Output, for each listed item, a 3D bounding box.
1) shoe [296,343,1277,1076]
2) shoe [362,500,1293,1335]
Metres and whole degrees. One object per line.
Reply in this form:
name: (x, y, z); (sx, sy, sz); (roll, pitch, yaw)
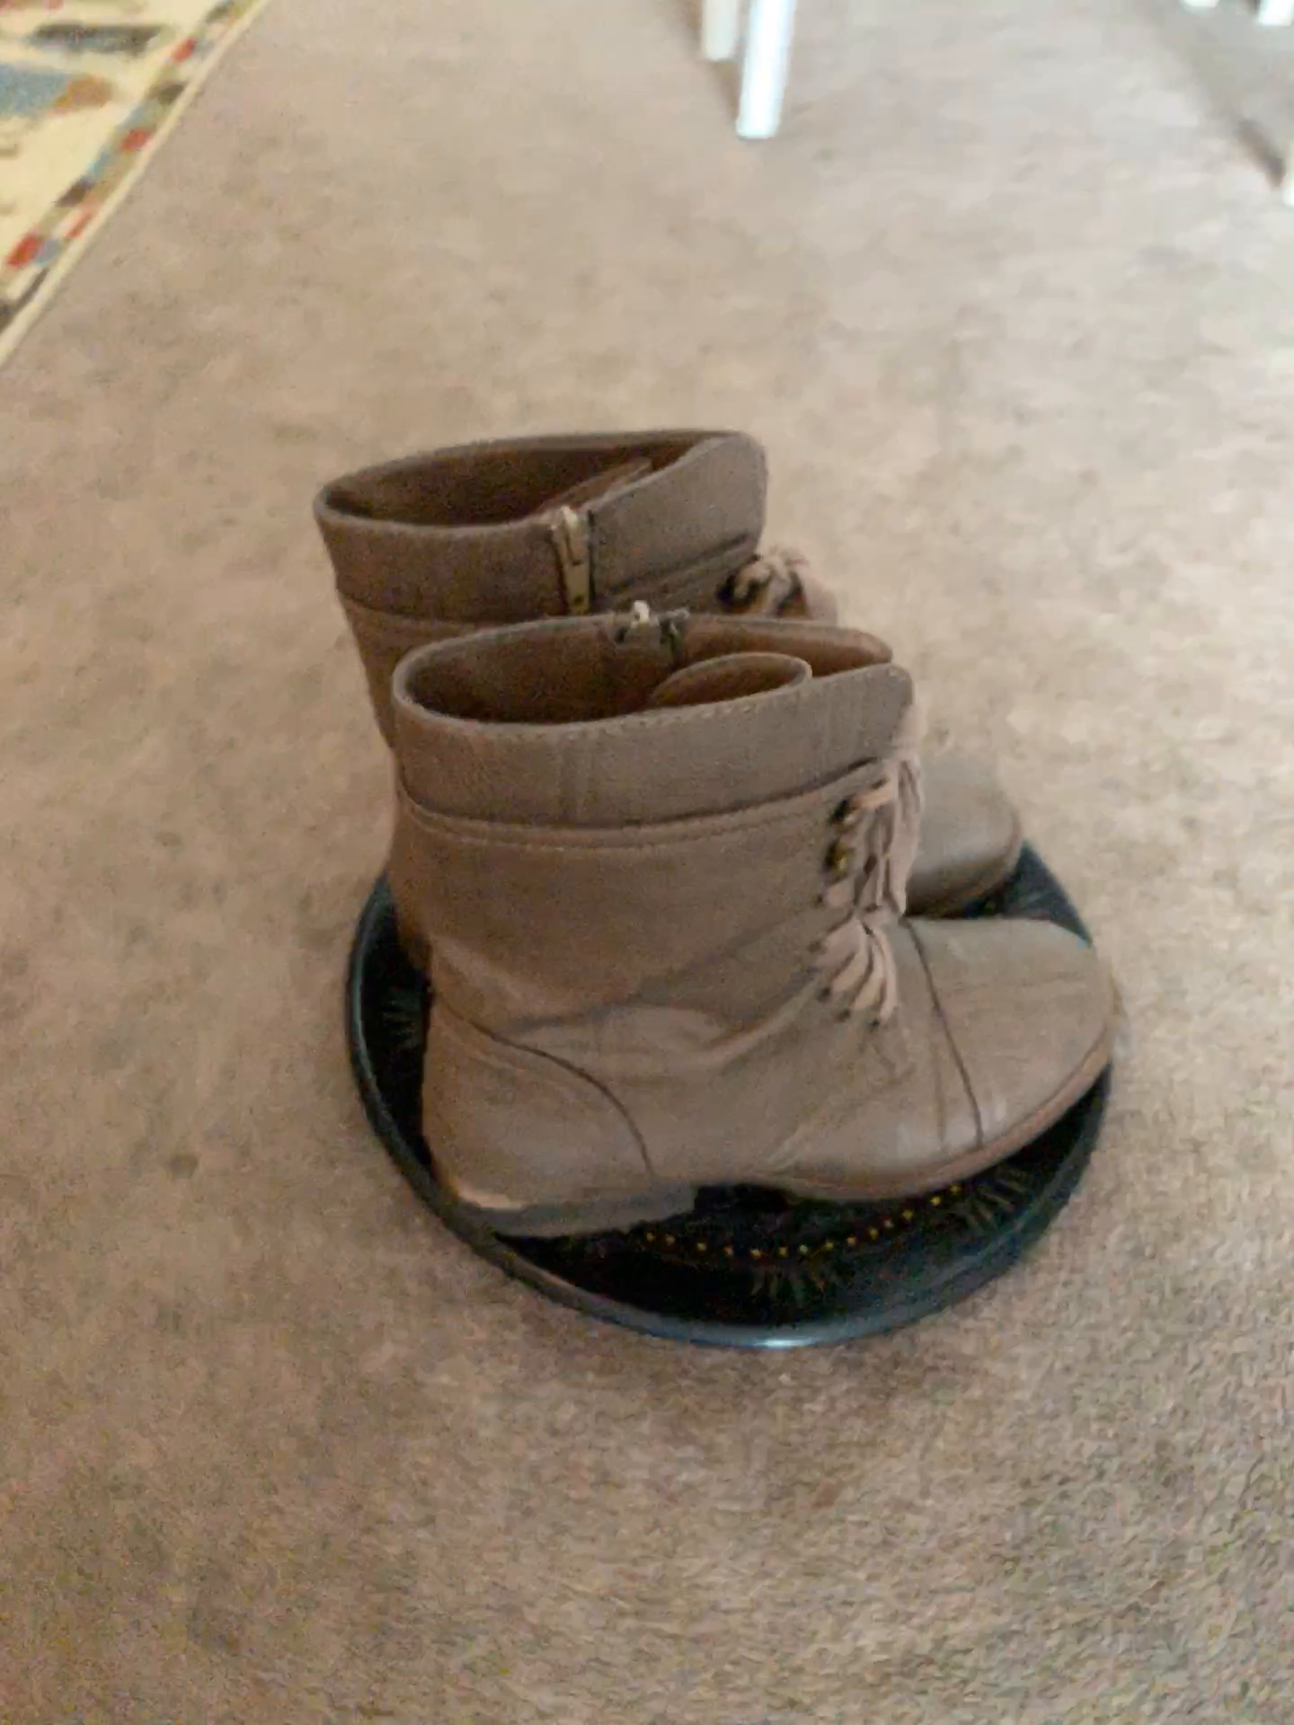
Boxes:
shoe: (0.035, -0.050, 0.469); (0.270, 0.198, 0.101); (-11, 51, -13)
shoe: (0.068, 0.021, 0.406); (0.270, 0.198, 0.101); (-11, 51, -13)
